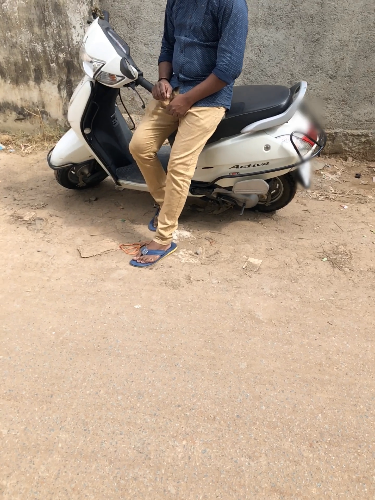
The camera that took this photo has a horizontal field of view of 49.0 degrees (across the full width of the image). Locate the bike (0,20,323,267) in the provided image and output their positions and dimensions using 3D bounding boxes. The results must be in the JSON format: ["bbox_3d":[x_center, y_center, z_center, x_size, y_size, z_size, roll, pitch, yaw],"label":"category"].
[{"bbox_3d":[-0.169,-0.636,2.372,1.622,1.139,0.673,6,34,9],"label":"bike"}]
